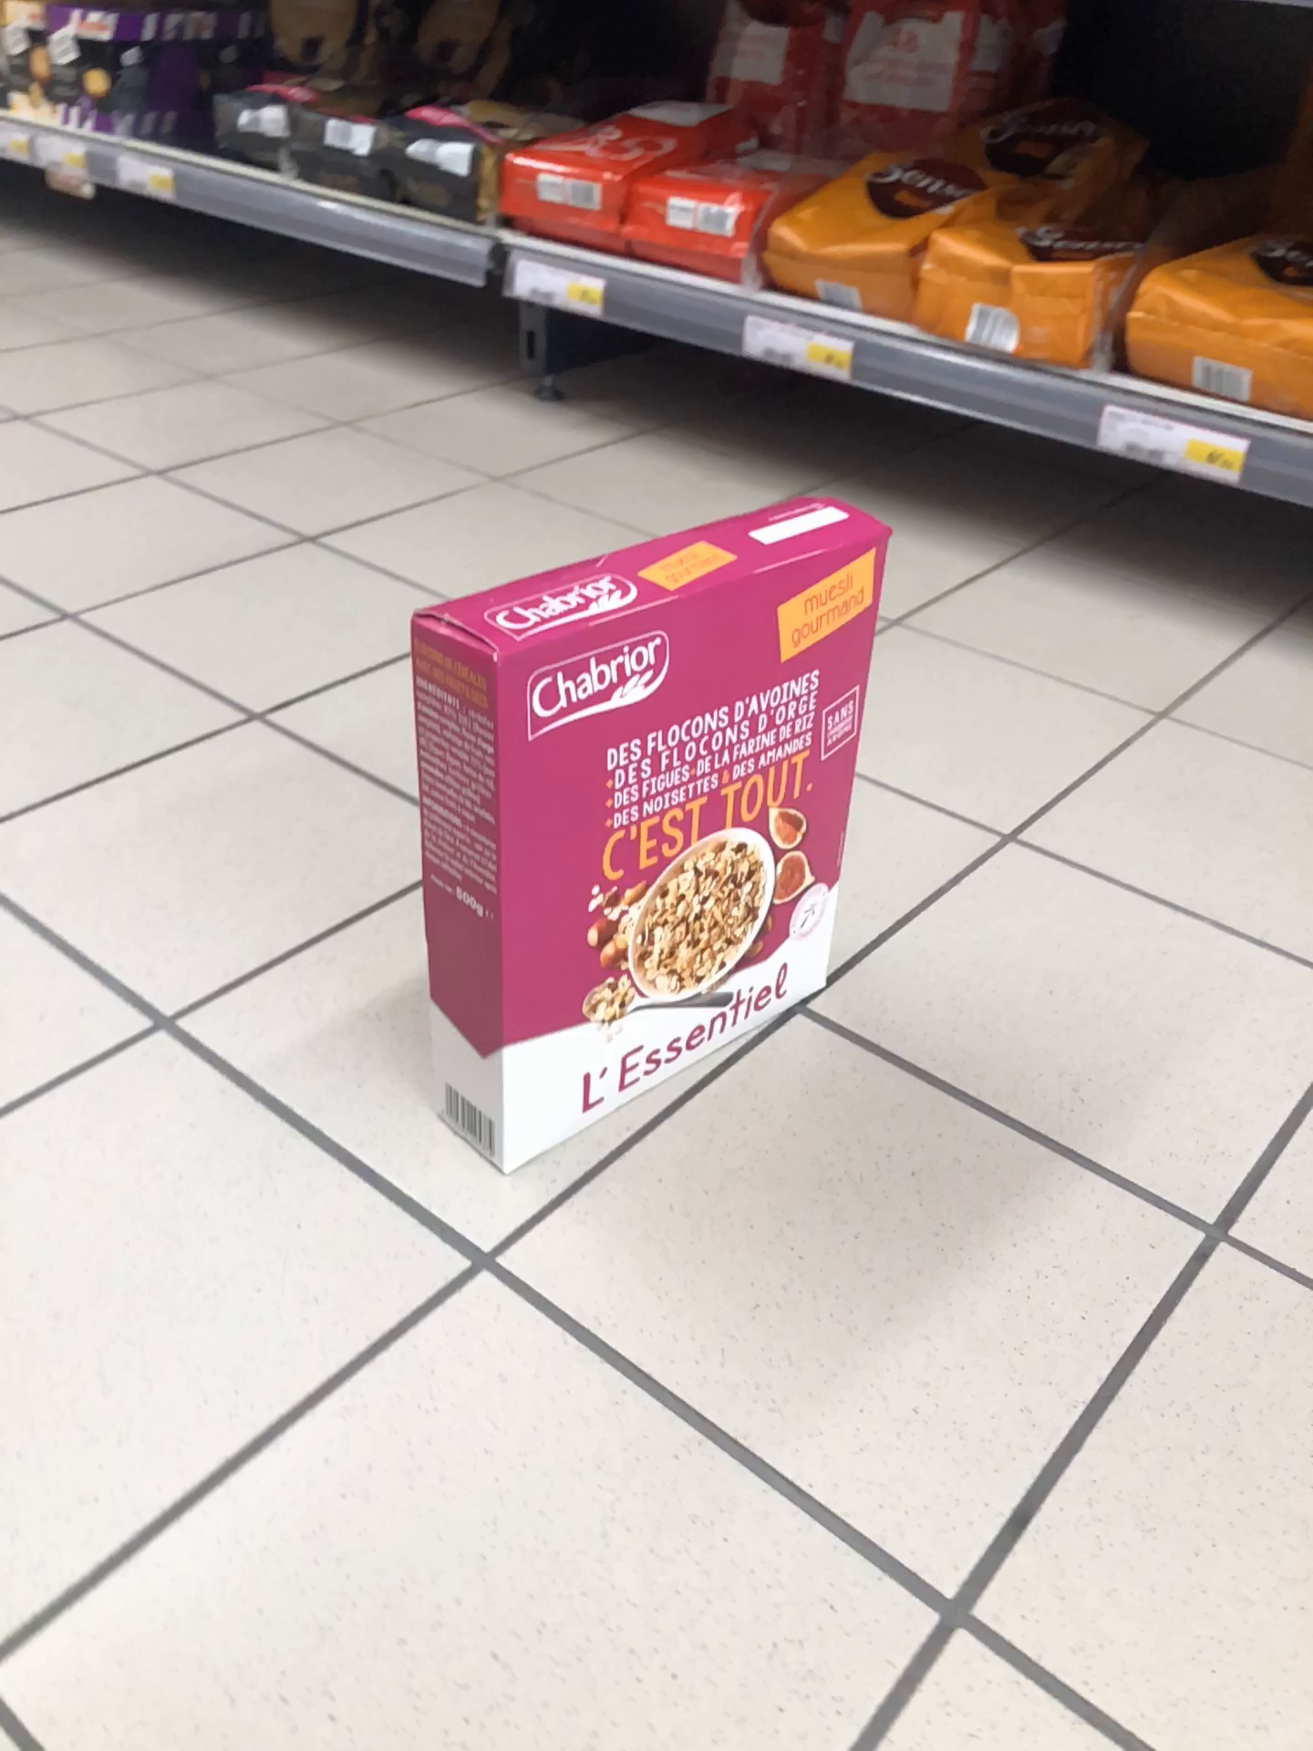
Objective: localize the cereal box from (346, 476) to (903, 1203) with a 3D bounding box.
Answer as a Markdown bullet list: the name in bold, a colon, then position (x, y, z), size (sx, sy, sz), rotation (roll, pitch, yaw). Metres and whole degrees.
- **cereal box**: position (-0.008, -0.019, 0.575), size (0.211, 0.229, 0.060), rotation (-25, 42, -36)
